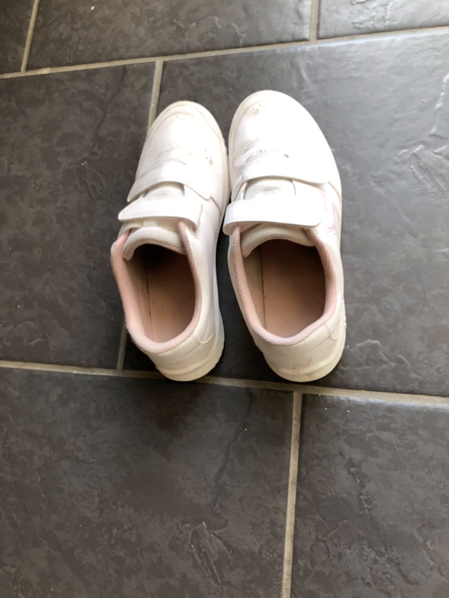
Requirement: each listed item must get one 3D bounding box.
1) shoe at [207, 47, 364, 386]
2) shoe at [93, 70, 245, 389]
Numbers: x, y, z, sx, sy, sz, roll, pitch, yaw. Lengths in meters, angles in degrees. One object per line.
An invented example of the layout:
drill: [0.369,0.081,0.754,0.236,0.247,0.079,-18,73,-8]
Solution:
shoe: [0.050,-0.060,0.413,0.095,0.090,0.250,-7,76,15]
shoe: [-0.041,-0.052,0.432,0.095,0.090,0.250,-4,76,15]
